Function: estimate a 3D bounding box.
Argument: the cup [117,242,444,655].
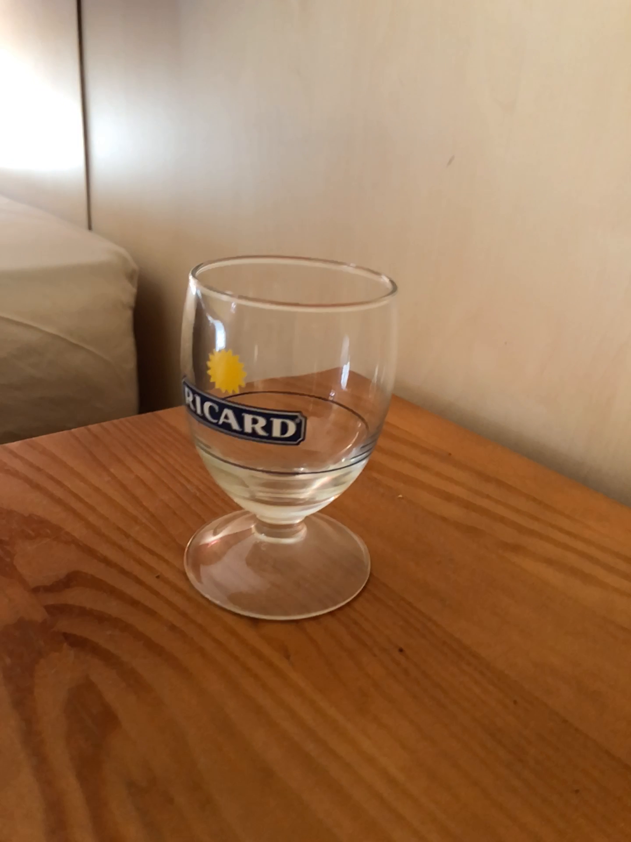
[{"bbox_3d":[-0.011,0.002,0.223,0.069,0.098,0.069,4,24,-2],"label":"cup"}]
